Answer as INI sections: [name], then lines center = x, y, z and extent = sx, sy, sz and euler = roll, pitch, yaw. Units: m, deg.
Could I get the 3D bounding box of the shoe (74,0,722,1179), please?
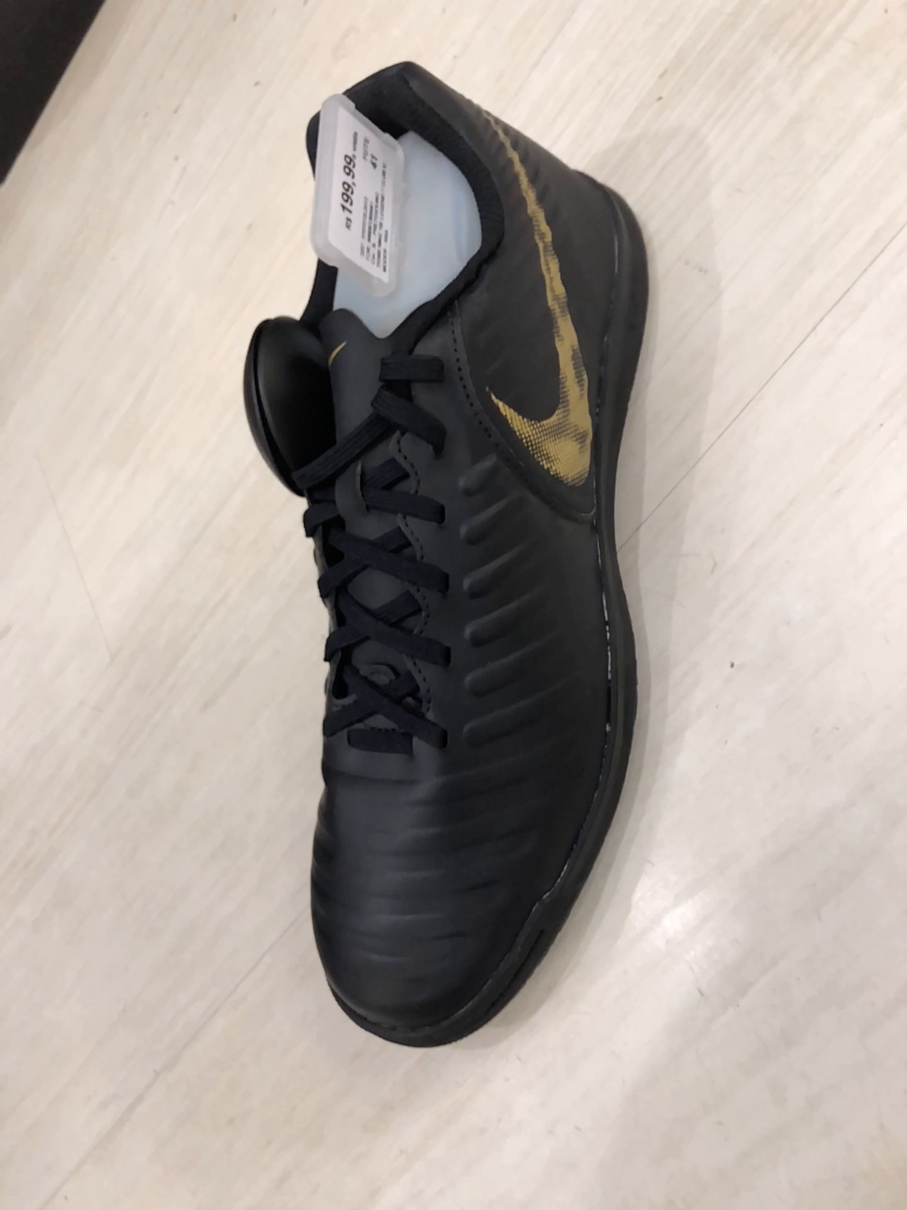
[shoe]
center = -0.005, -0.014, 0.299
extent = 0.101, 0.109, 0.290
euler = -3, 74, 42
